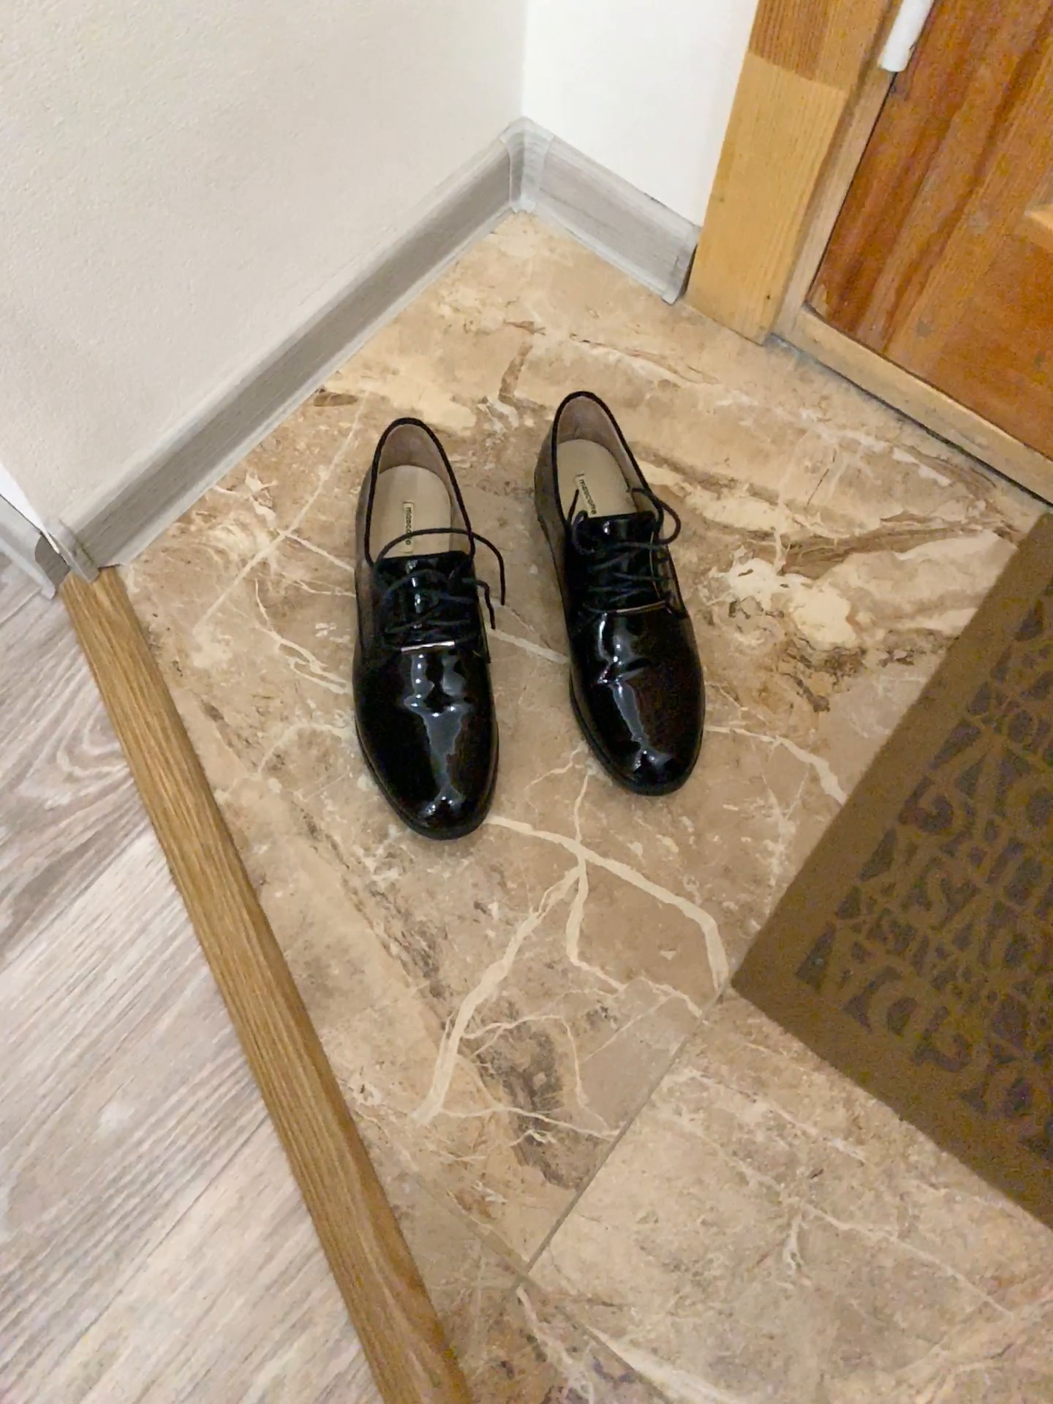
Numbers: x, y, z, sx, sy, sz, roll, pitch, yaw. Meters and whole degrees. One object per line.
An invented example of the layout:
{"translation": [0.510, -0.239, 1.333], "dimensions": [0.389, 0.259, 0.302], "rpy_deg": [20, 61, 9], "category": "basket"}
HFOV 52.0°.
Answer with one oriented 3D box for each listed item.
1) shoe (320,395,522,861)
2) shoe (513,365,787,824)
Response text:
{"translation": [-0.061, -0.041, 0.606], "dimensions": [0.086, 0.110, 0.230], "rpy_deg": [-5, 67, -5], "category": "shoe"}
{"translation": [0.060, -0.062, 0.625], "dimensions": [0.090, 0.110, 0.230], "rpy_deg": [-9, 68, -7], "category": "shoe"}
